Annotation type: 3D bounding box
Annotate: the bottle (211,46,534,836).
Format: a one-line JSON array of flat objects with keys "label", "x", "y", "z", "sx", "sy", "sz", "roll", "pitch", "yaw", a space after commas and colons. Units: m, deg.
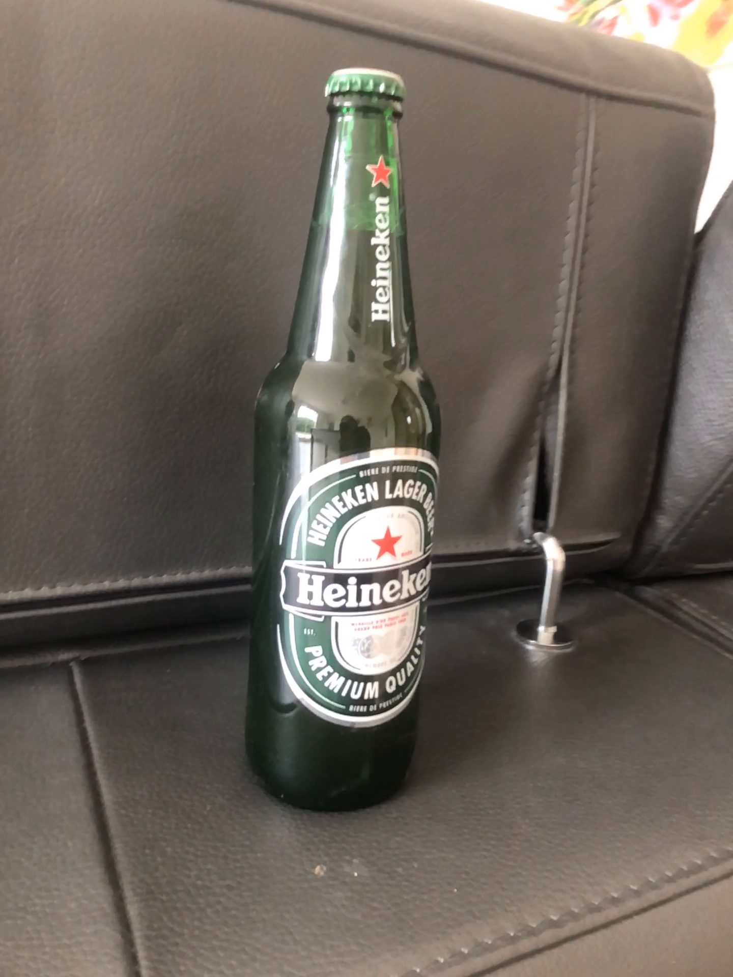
[{"label": "bottle", "x": -0.008, "y": -0.012, "z": 0.321, "sx": 0.080, "sy": 0.269, "sz": 0.080, "roll": 4, "pitch": 15, "yaw": -1}]
